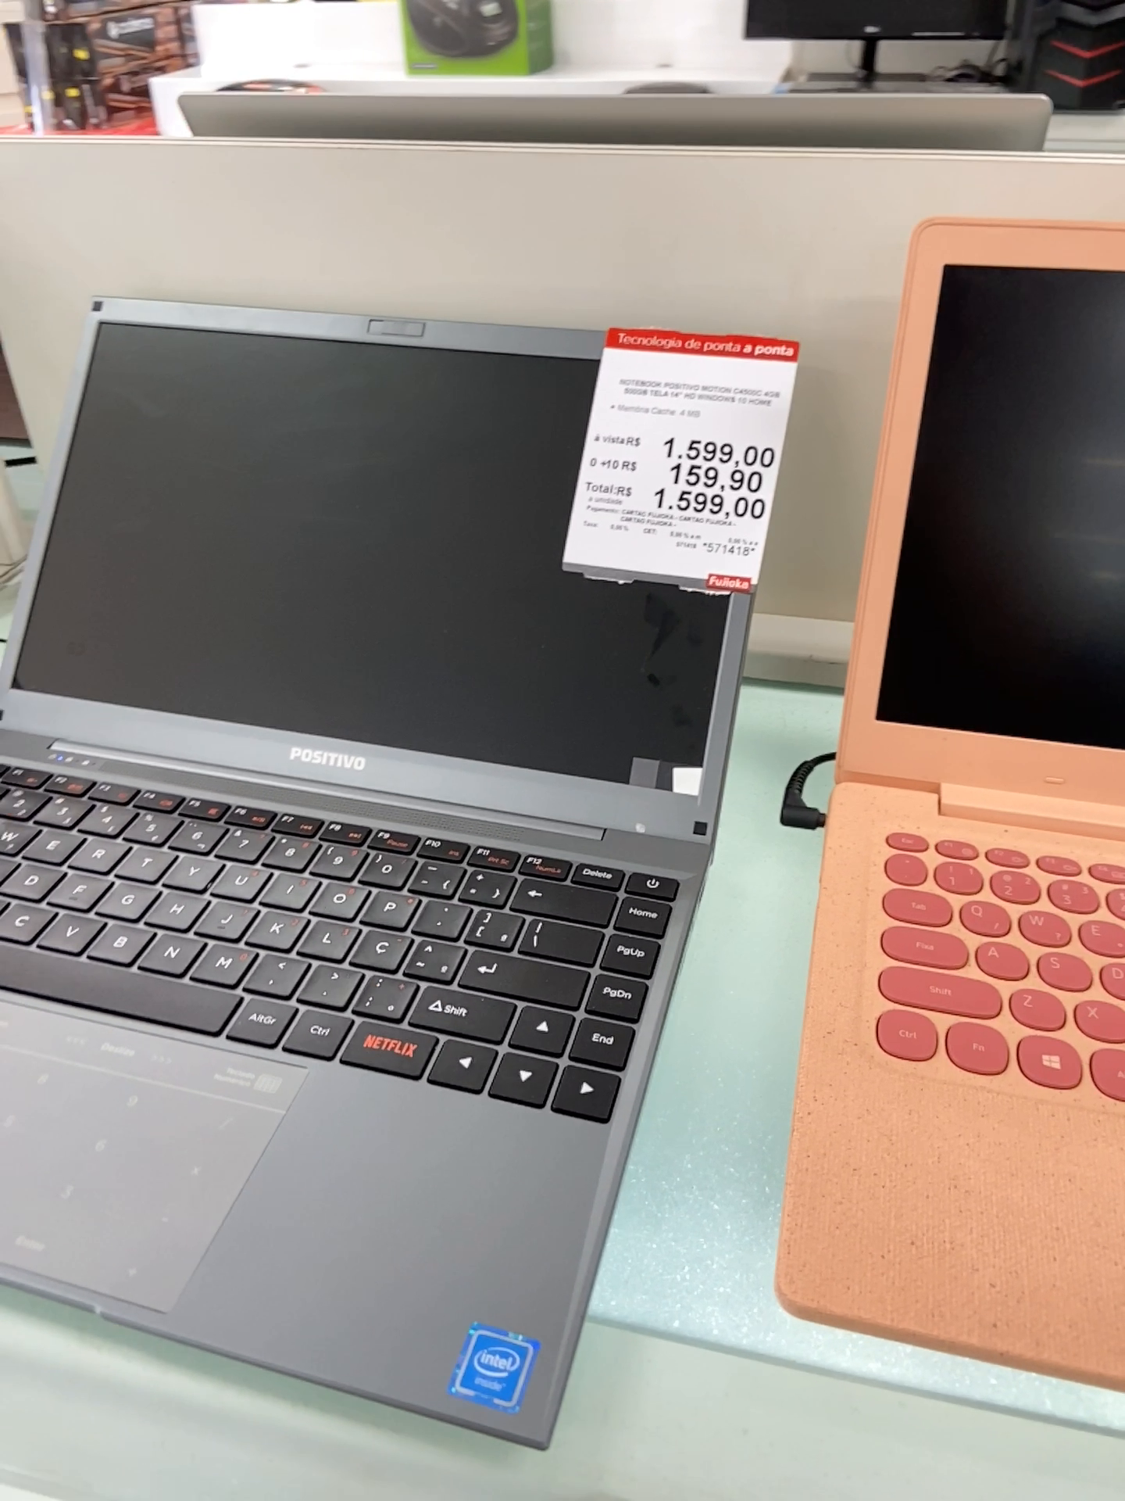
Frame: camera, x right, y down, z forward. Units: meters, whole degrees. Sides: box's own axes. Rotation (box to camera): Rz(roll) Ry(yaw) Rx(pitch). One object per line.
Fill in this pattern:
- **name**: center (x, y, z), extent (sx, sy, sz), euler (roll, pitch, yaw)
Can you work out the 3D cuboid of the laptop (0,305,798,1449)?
- **laptop**: center (-0.114, -0.024, 0.411), extent (0.333, 0.144, 0.368), euler (8, 37, 14)
